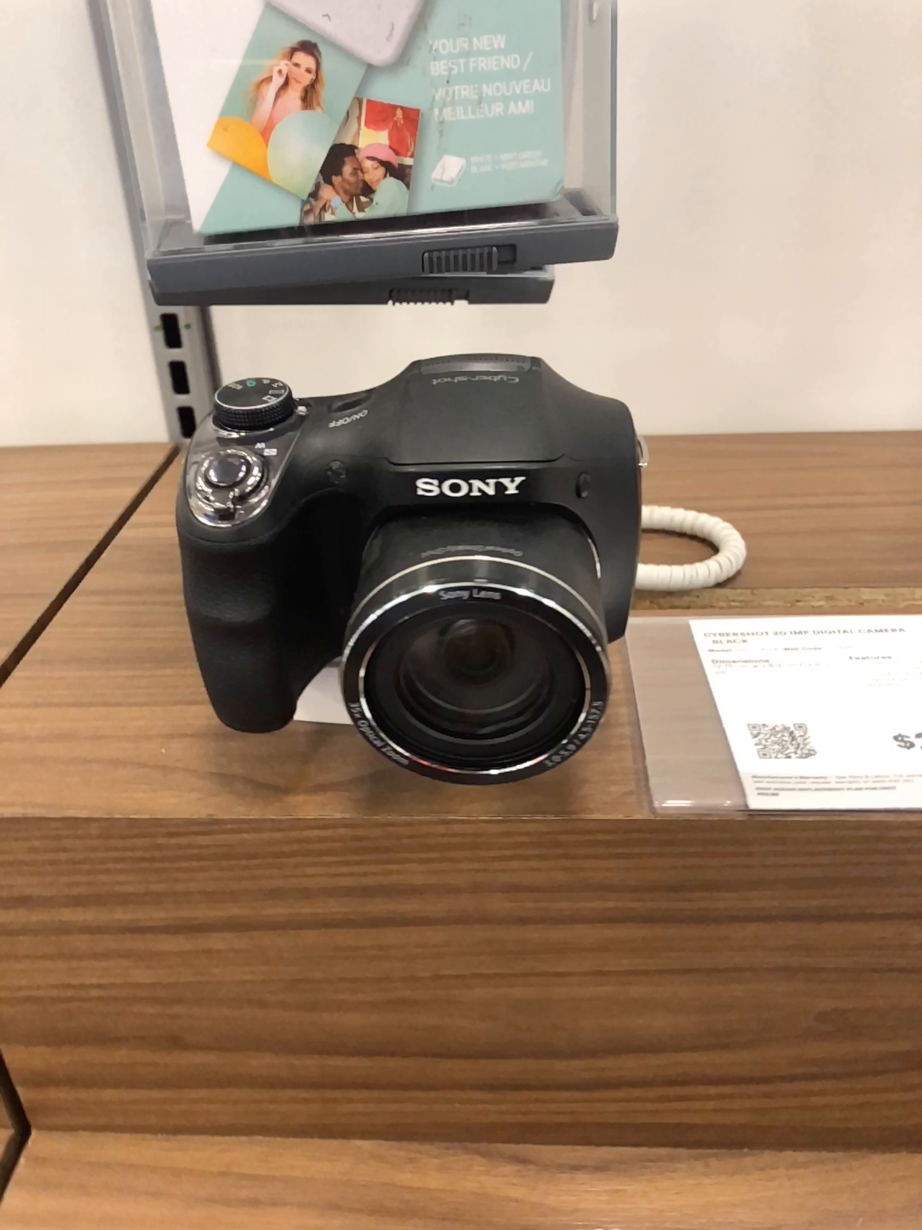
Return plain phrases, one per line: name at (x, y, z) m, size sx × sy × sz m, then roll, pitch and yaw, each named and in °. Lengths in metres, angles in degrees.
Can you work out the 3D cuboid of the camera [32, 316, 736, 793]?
camera at (-0.012, -0.023, 0.275) m, size 0.140 × 0.080 × 0.121 m, roll -1°, pitch 28°, yaw 4°
